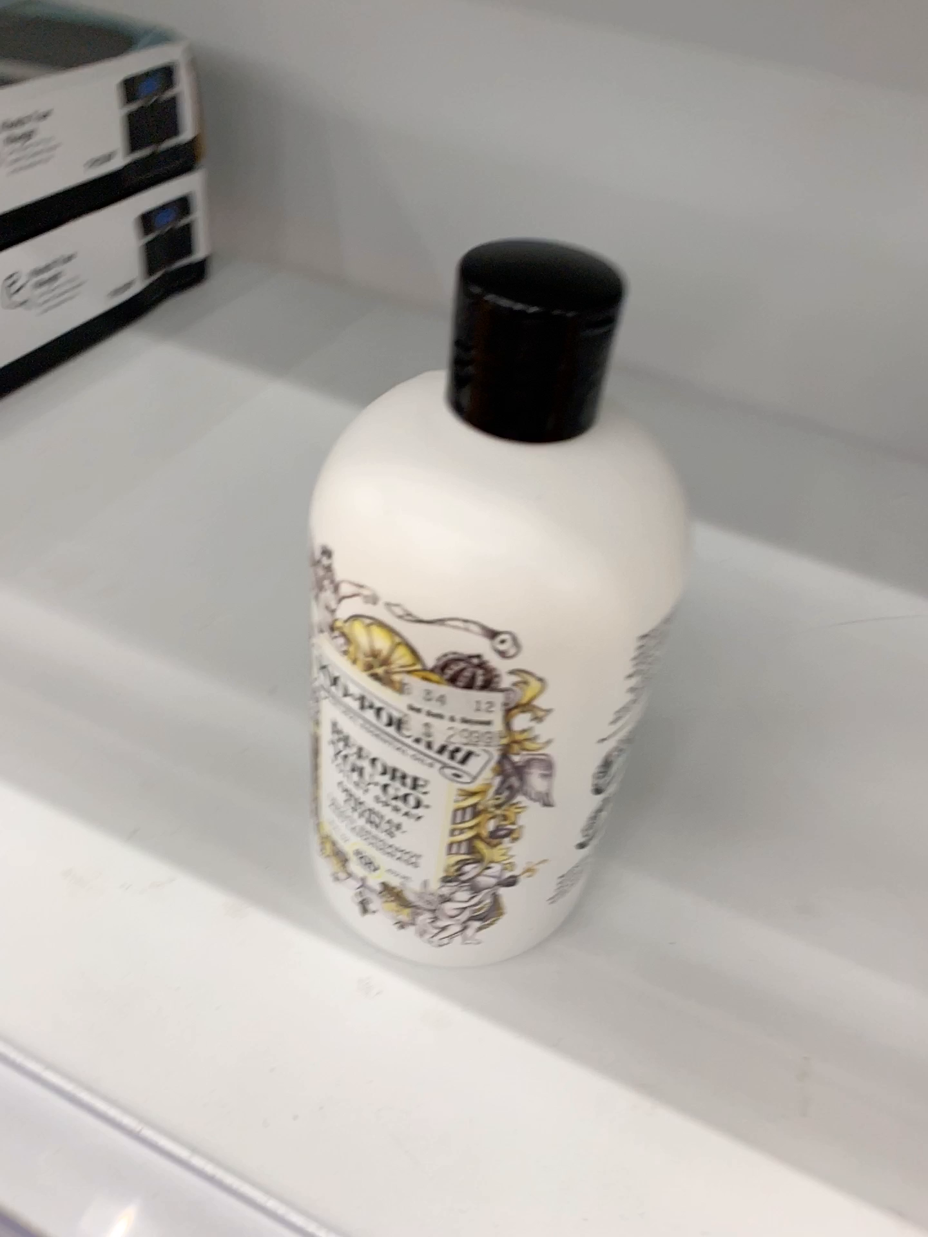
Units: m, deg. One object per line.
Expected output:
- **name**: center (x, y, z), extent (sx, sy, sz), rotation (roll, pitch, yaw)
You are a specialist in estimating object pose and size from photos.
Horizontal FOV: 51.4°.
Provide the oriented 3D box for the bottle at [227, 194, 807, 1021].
- **bottle**: center (0.004, 0.005, 0.210), extent (0.073, 0.153, 0.070), rotation (5, 42, -4)
